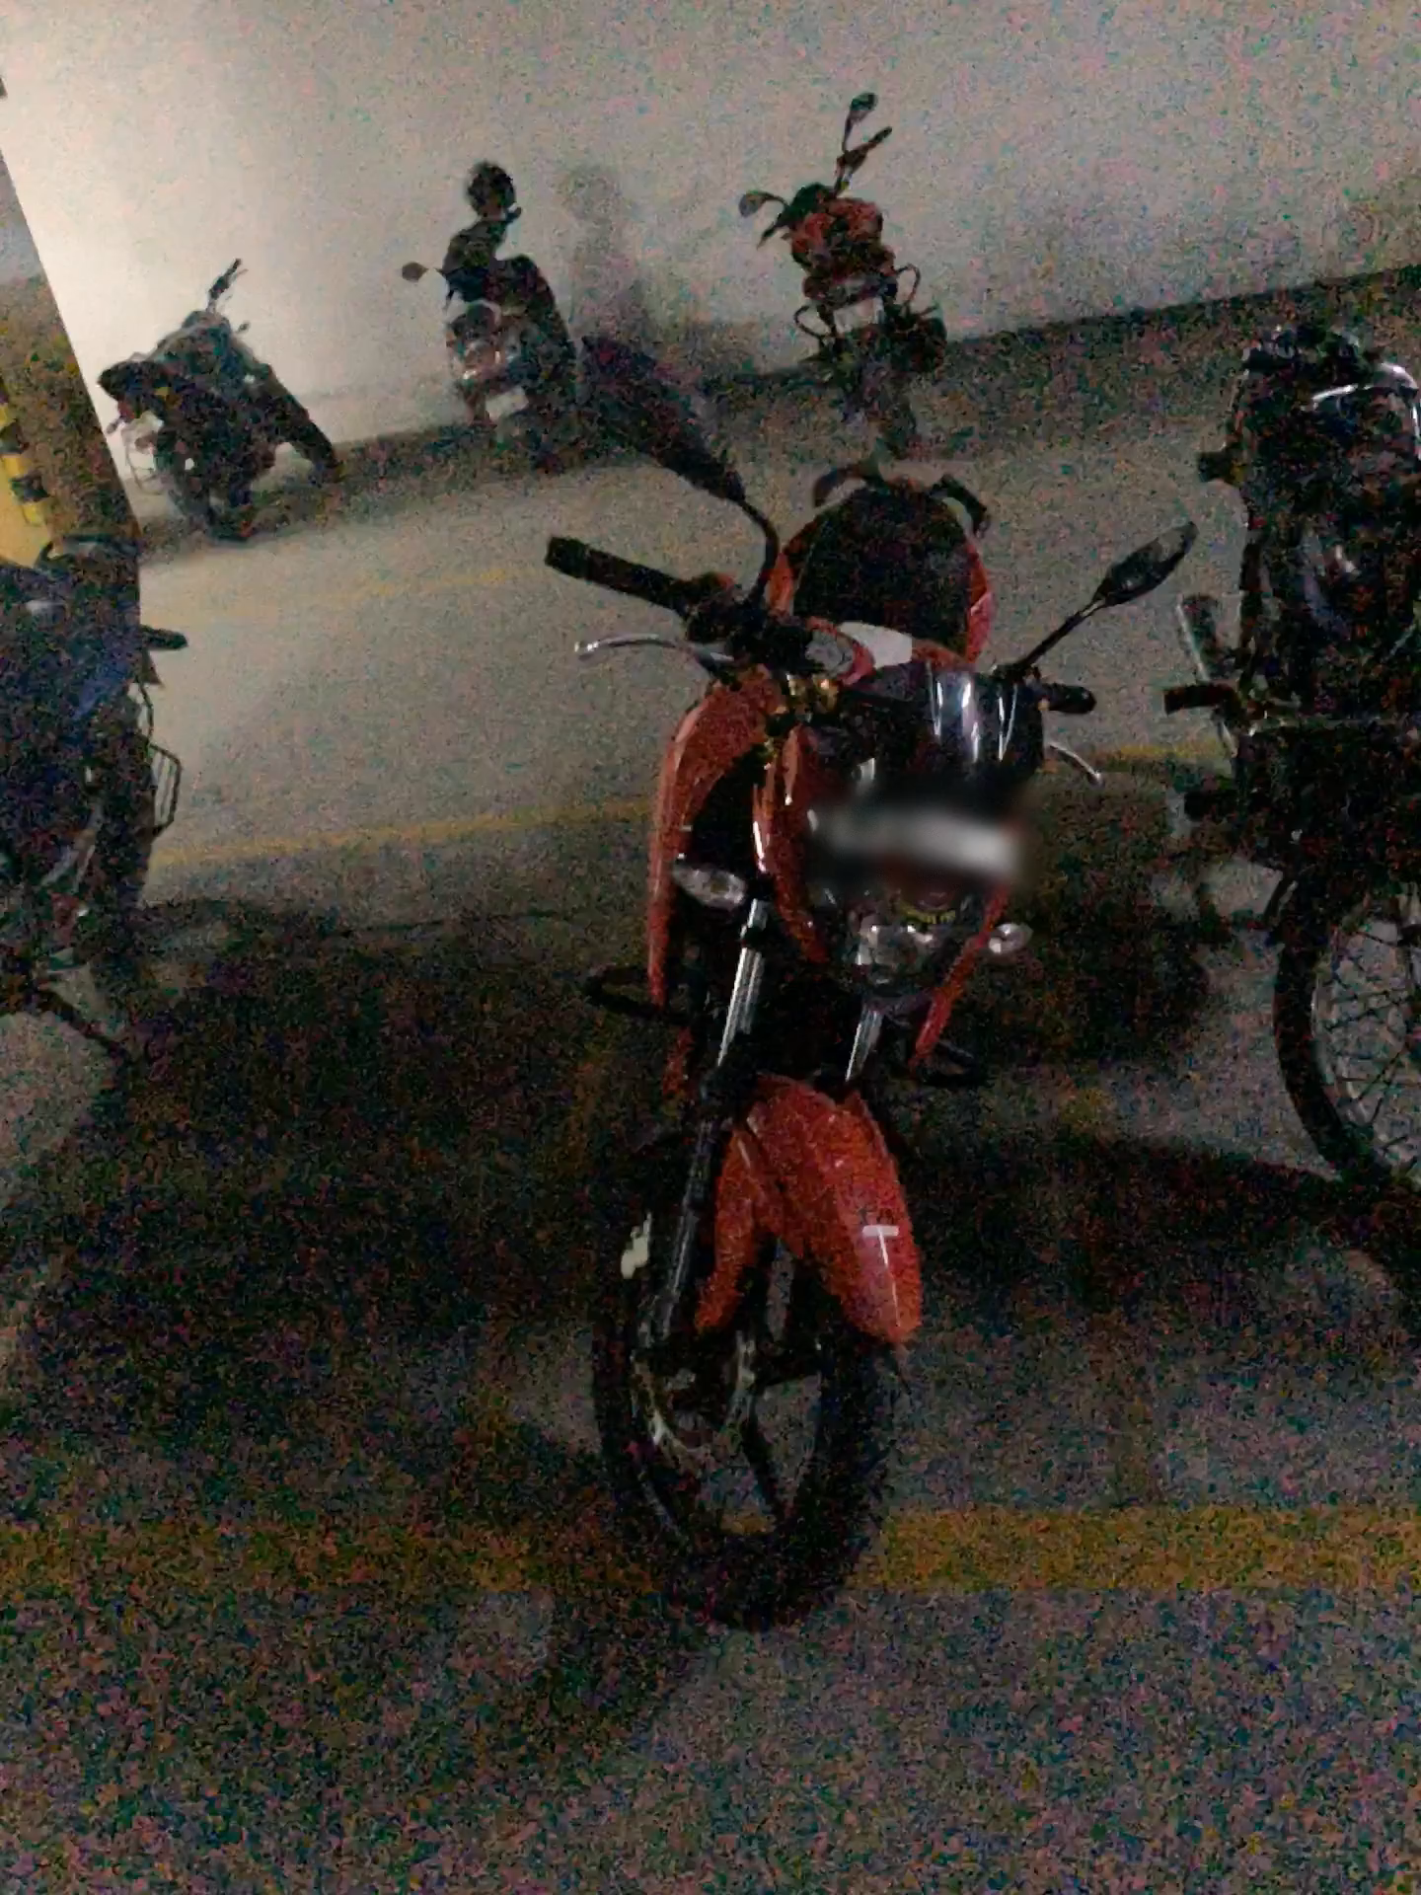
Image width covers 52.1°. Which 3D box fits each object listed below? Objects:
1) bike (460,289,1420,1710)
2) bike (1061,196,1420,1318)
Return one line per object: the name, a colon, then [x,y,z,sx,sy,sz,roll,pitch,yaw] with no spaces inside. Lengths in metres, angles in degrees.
bike: [0.293,-0.112,2.009,0.801,1.006,1.702,-7,34,7]
bike: [1.020,-0.419,2.120,0.673,0.933,1.574,-7,32,7]
